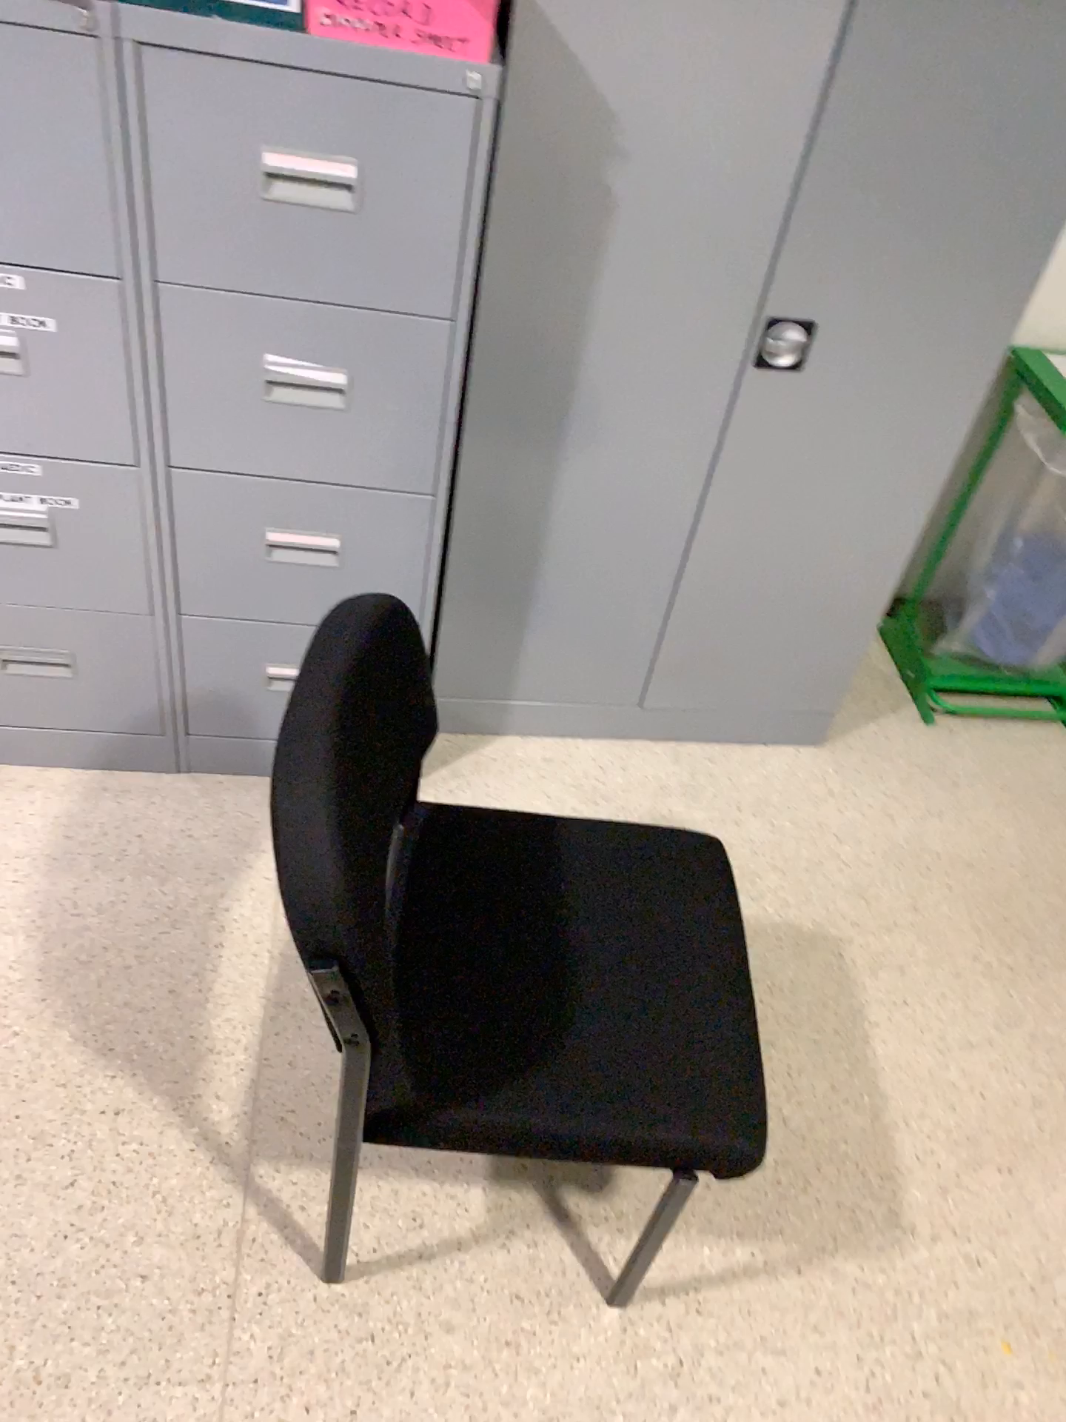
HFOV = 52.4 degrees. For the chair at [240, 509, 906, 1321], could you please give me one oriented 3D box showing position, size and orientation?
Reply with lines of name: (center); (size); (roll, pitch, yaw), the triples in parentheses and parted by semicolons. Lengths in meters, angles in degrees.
chair: (-0.018, 0.303, 1.463); (0.590, 0.852, 0.636); (7, 42, -5)
